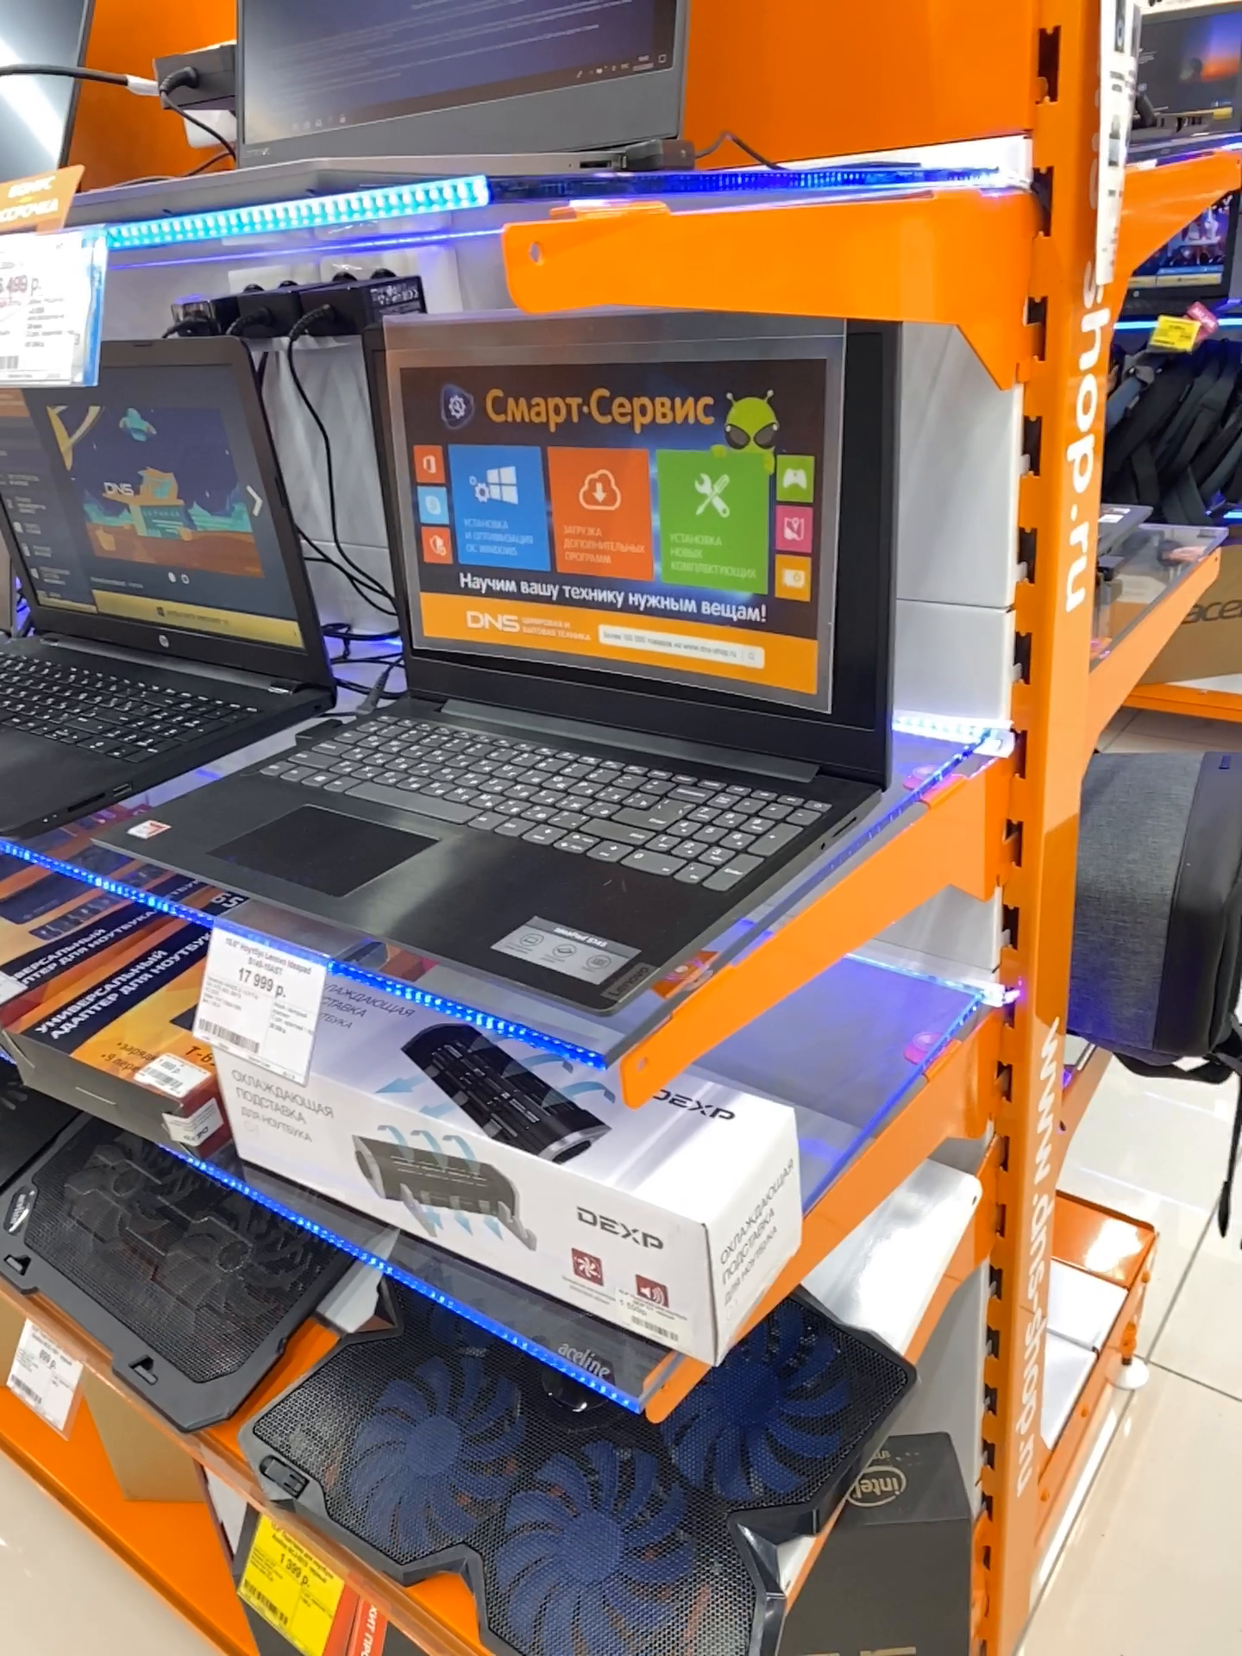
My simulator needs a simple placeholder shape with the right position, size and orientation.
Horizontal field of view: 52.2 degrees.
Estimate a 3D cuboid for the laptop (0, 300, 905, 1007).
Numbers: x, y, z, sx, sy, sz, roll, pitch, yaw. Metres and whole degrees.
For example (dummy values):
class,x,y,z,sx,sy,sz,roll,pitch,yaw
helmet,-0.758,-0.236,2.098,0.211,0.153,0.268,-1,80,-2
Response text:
class,x,y,z,sx,sy,sz,roll,pitch,yaw
laptop,-0.080,-0.119,0.644,0.358,0.236,0.266,12,30,34
